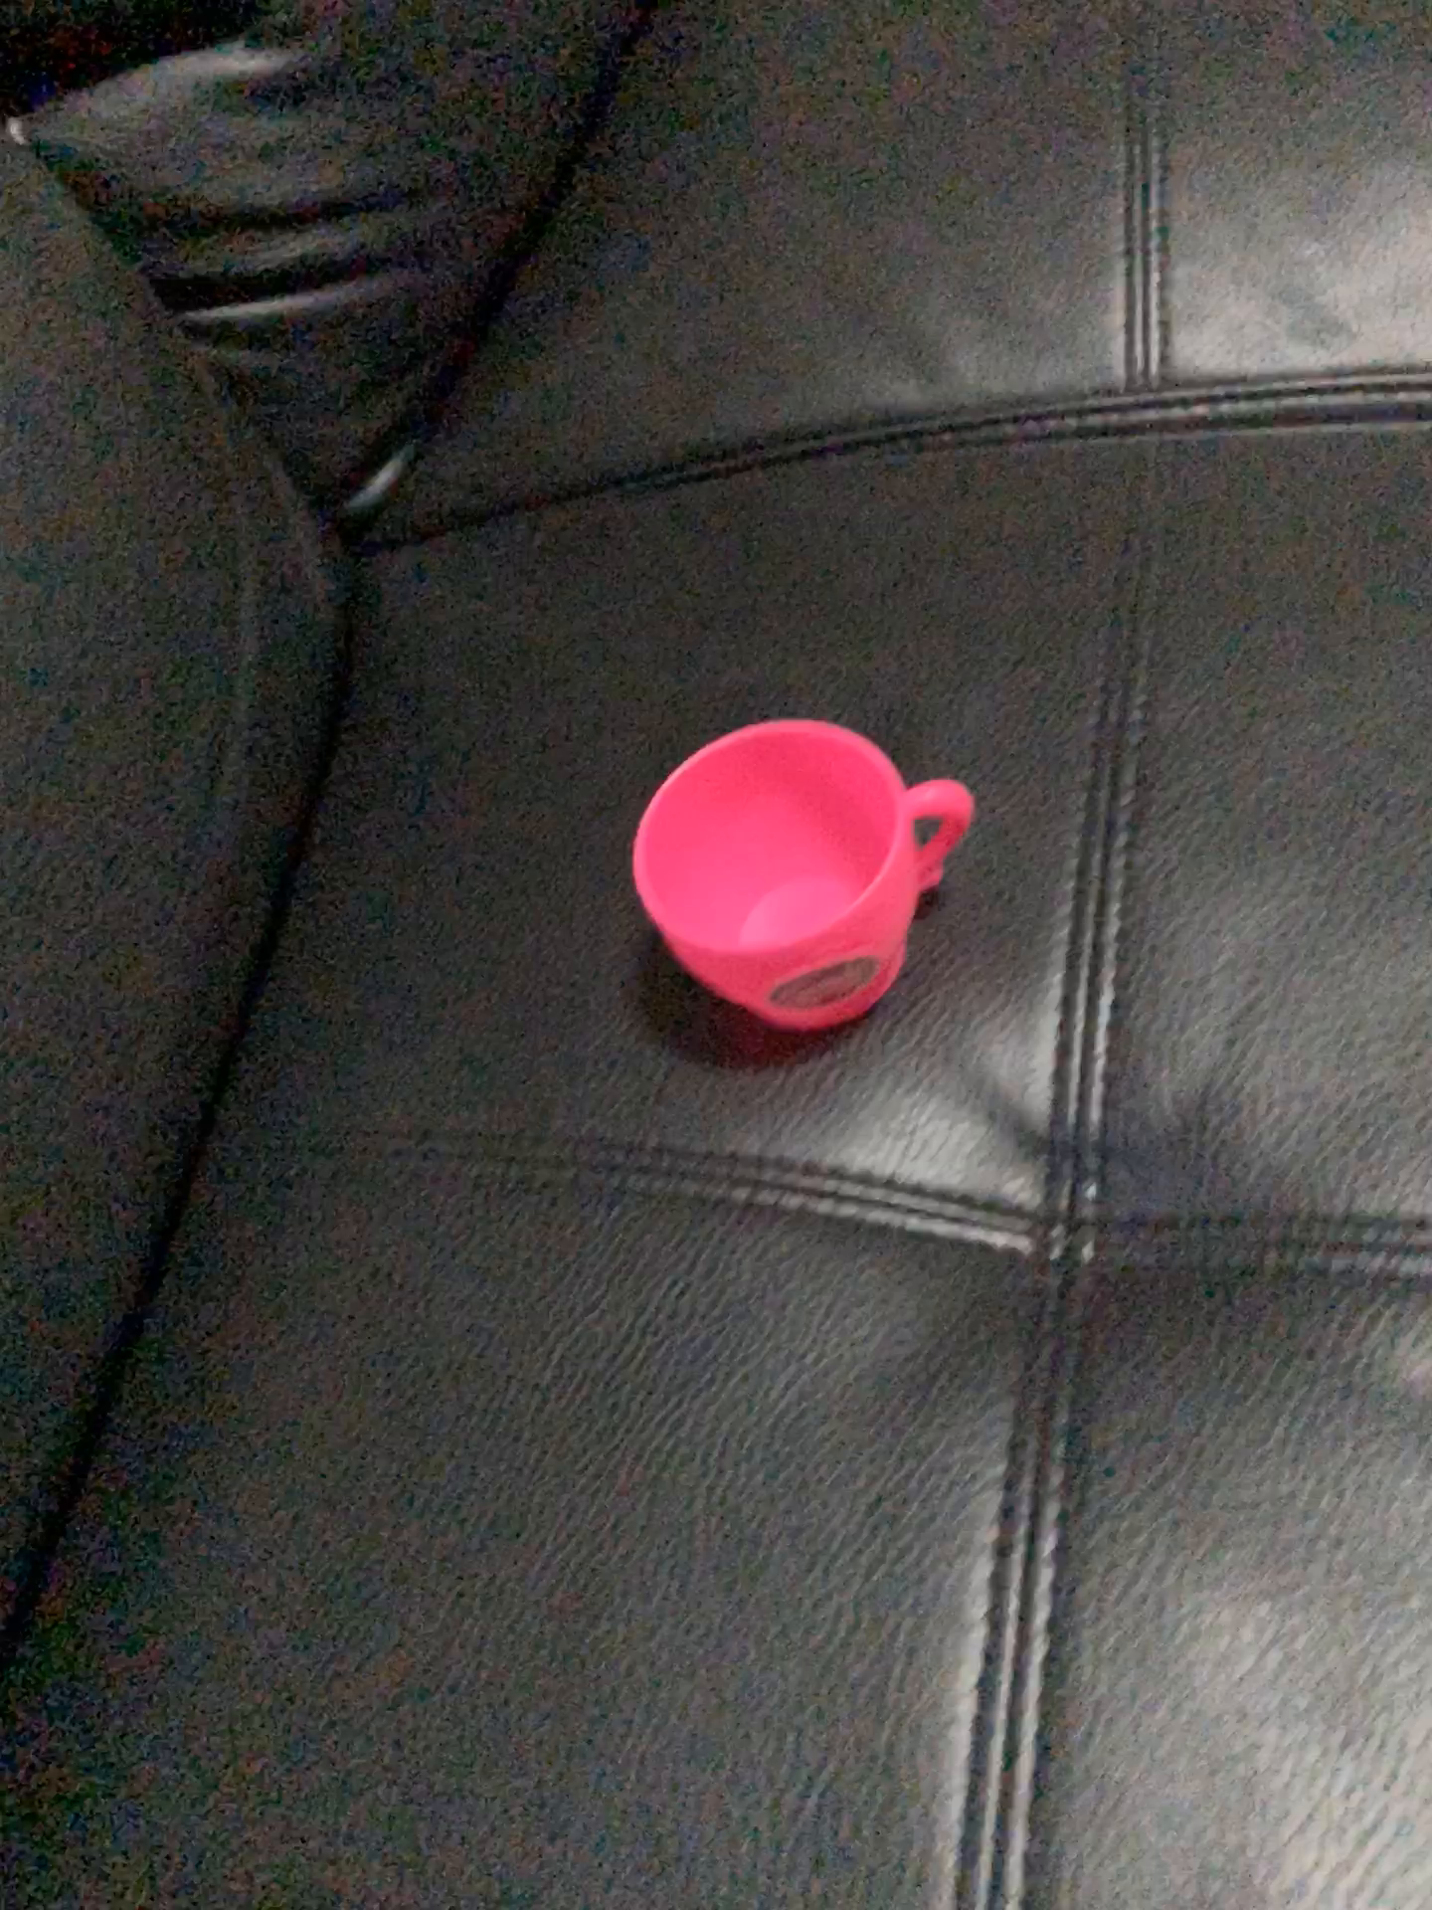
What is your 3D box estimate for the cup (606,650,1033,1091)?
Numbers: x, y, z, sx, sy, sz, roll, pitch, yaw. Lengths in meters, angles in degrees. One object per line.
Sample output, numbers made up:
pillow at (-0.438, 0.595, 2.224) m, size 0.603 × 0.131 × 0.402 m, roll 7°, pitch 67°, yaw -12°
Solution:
cup at (0.022, -0.018, 0.327) m, size 0.073 × 0.047 × 0.062 m, roll -19°, pitch 53°, yaw 8°
